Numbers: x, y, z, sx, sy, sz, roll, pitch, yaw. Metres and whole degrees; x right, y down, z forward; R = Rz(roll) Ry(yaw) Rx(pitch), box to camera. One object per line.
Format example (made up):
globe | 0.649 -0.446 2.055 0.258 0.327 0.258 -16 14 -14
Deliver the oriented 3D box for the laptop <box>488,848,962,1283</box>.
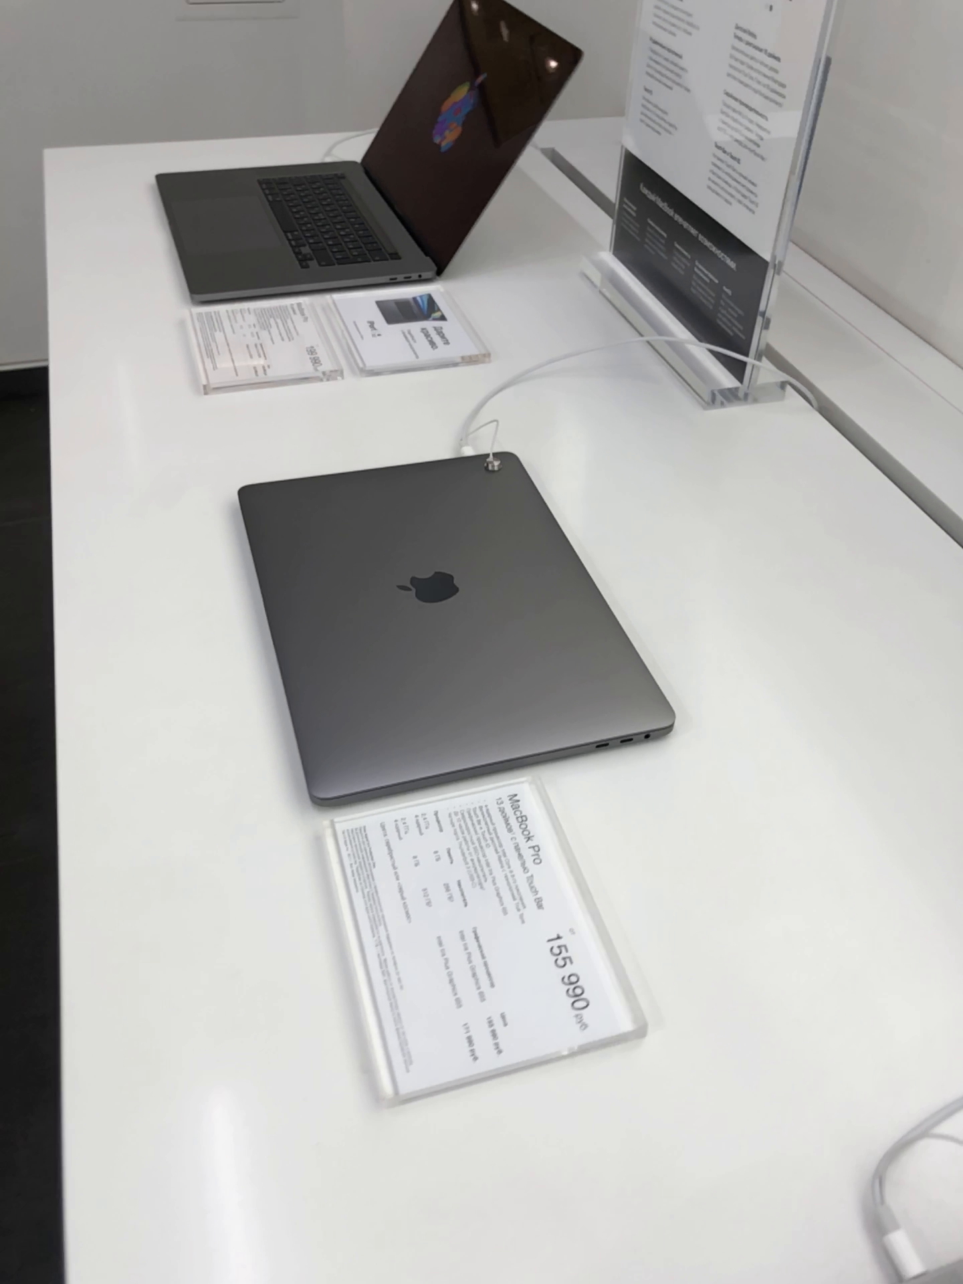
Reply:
laptop | 0.181 0.262 0.196 0.276 0.187 0.310 -13 44 -15

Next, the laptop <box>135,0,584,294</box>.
laptop | -0.142 -0.550 1.116 0.379 0.190 0.350 -11 42 -14

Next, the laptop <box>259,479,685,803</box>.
laptop | -0.022 -0.020 0.667 0.202 0.001 0.280 -10 40 -13
